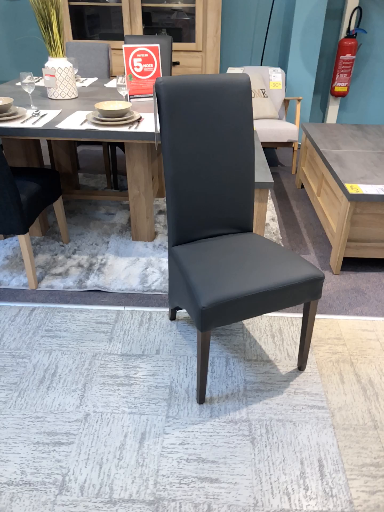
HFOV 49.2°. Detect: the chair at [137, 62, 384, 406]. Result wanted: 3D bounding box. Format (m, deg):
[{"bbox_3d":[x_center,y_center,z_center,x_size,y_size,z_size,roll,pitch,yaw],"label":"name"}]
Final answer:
[{"bbox_3d":[0.162,-0.102,1.515,0.521,1.014,0.572,-12,33,-20],"label":"chair"}]
